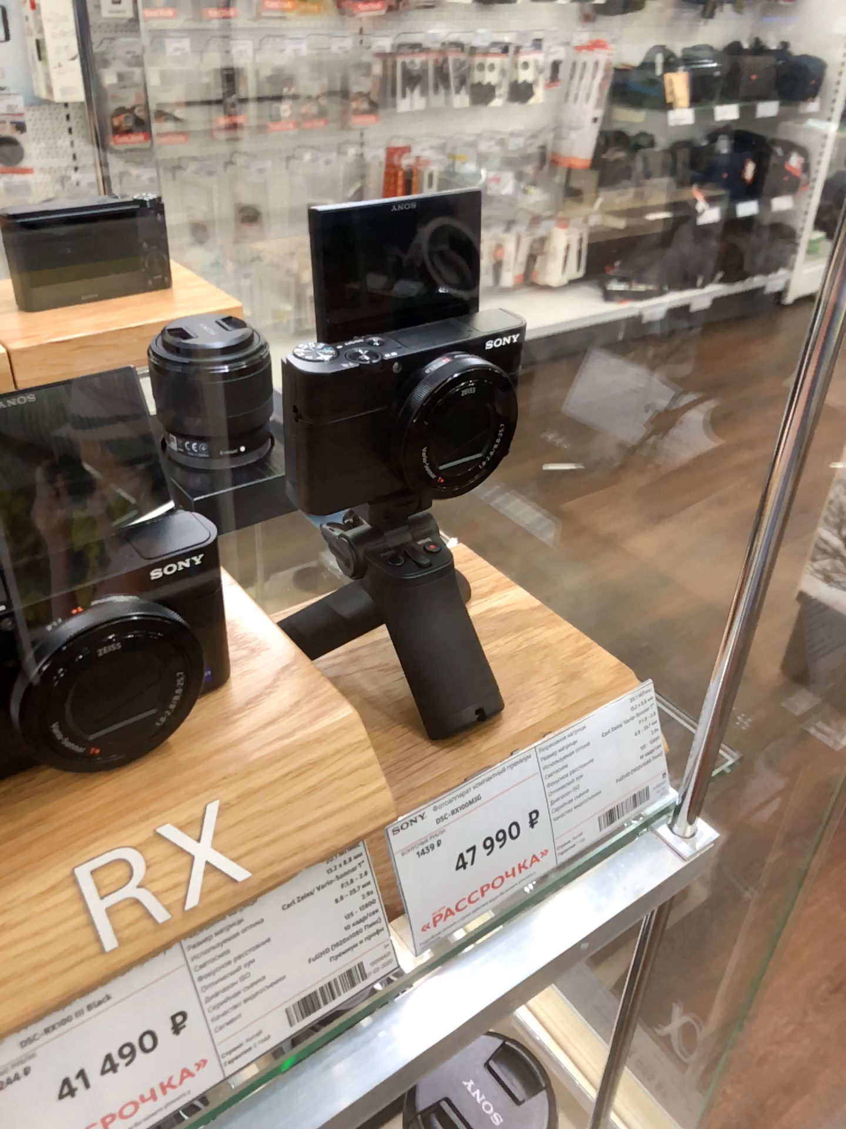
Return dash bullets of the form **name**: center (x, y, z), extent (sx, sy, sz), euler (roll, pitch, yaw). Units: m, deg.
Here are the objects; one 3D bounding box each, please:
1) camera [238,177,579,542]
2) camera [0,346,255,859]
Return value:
- **camera**: center (-0.006, -0.079, 0.347), extent (0.102, 0.102, 0.057), euler (-21, 41, -31)
- **camera**: center (-0.112, 0.006, 0.270), extent (0.102, 0.102, 0.065), euler (-21, 41, -31)
